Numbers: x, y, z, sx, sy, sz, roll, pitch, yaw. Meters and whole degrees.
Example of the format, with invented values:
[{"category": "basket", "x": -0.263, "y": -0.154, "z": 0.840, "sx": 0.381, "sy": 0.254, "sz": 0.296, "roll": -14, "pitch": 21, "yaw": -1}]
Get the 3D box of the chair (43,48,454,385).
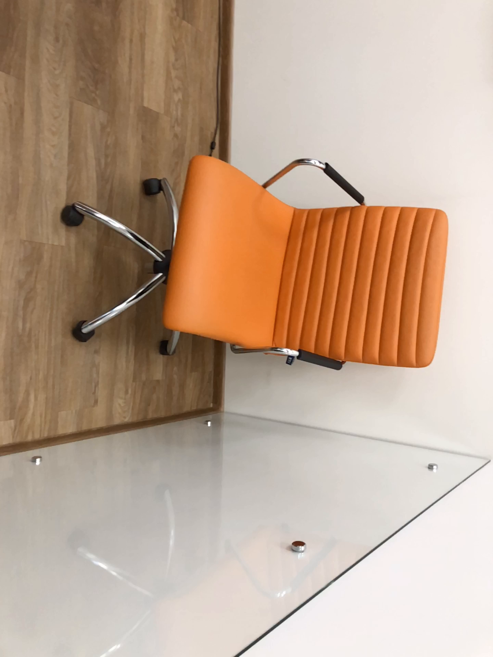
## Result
[{"category": "chair", "x": 0.010, "y": -0.203, "z": 1.537, "sx": 0.664, "sy": 0.895, "sz": 0.620, "roll": 10, "pitch": 84, "yaw": -52}]
